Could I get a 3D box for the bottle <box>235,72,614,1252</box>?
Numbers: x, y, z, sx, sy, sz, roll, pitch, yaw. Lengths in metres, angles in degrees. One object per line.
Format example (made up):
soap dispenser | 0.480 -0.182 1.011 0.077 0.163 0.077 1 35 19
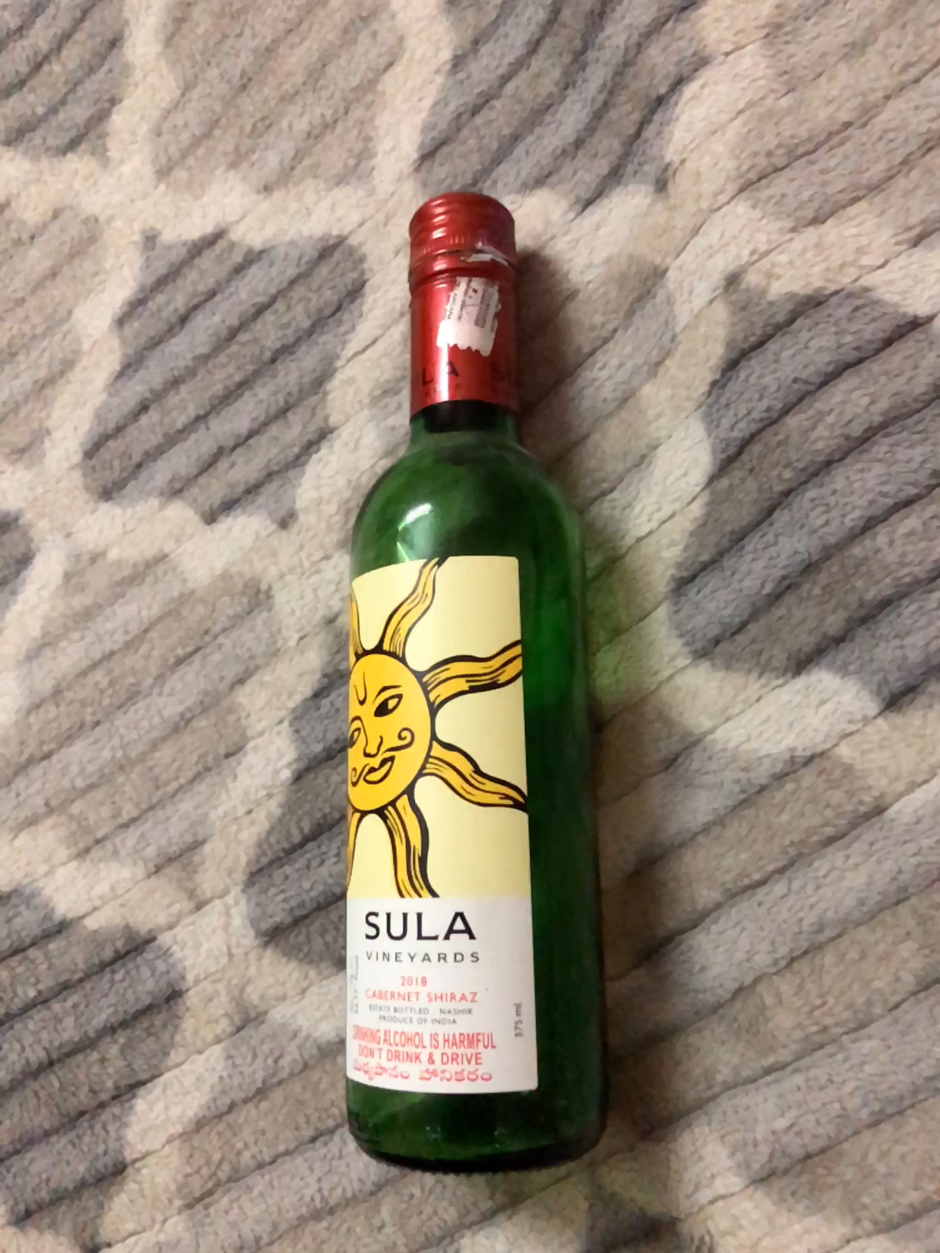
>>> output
bottle | -0.010 0.004 0.233 0.060 0.050 0.230 -7 78 28
